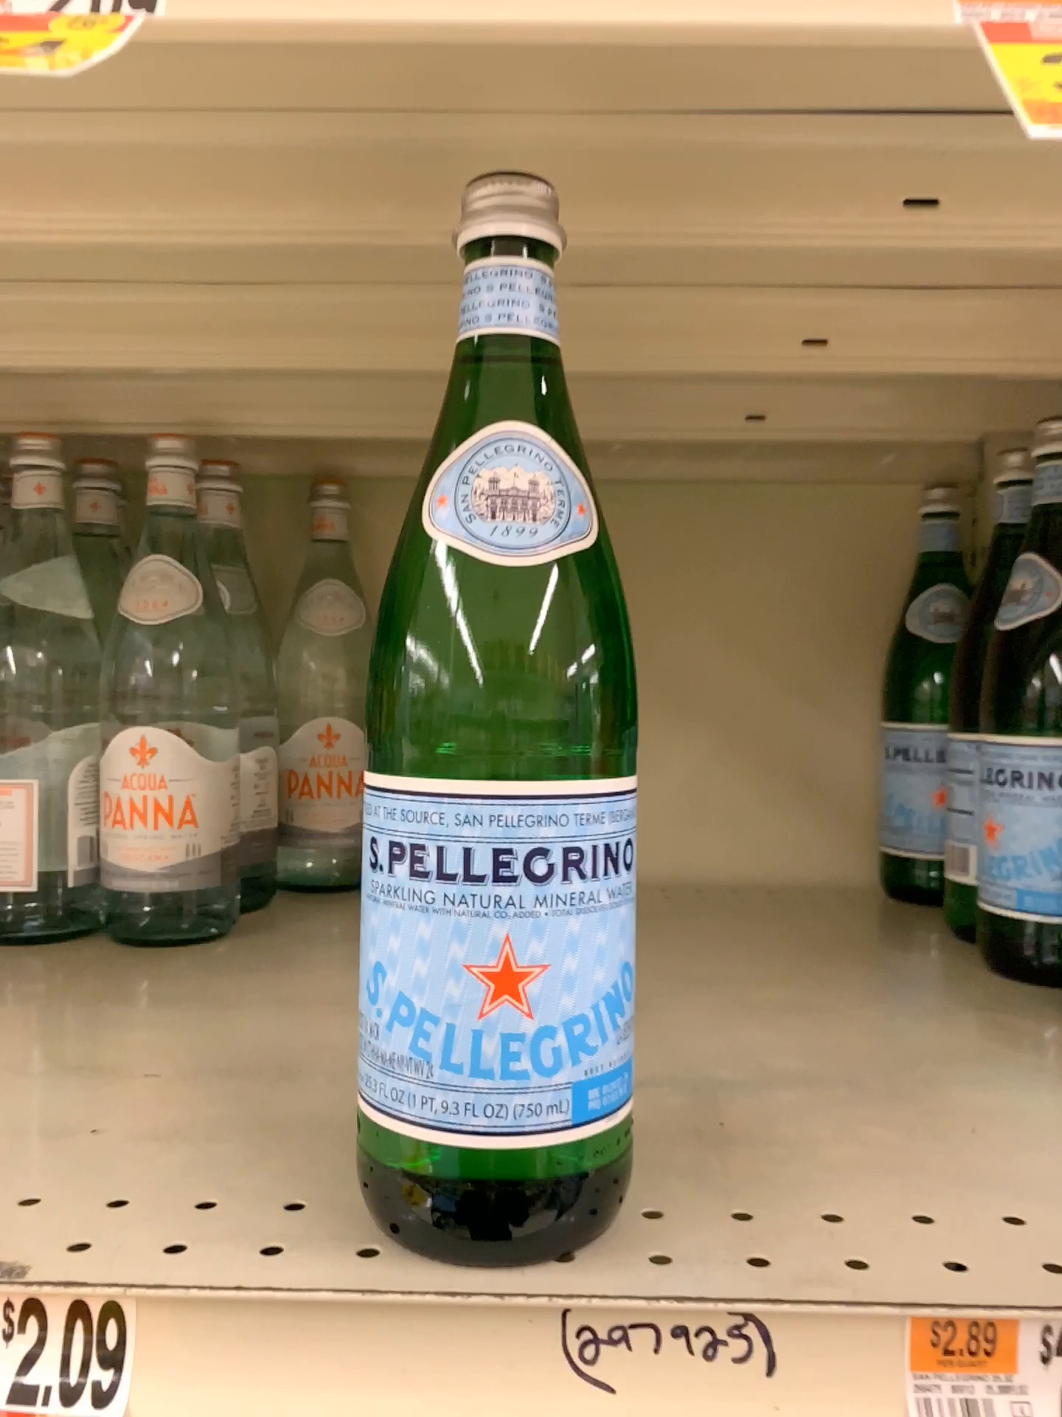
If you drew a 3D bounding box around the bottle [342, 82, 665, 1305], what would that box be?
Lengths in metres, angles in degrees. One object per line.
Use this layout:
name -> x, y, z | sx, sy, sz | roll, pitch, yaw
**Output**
bottle -> -0.004, -0.003, 0.307 | 0.078, 0.302, 0.065 | 1, 2, 8
